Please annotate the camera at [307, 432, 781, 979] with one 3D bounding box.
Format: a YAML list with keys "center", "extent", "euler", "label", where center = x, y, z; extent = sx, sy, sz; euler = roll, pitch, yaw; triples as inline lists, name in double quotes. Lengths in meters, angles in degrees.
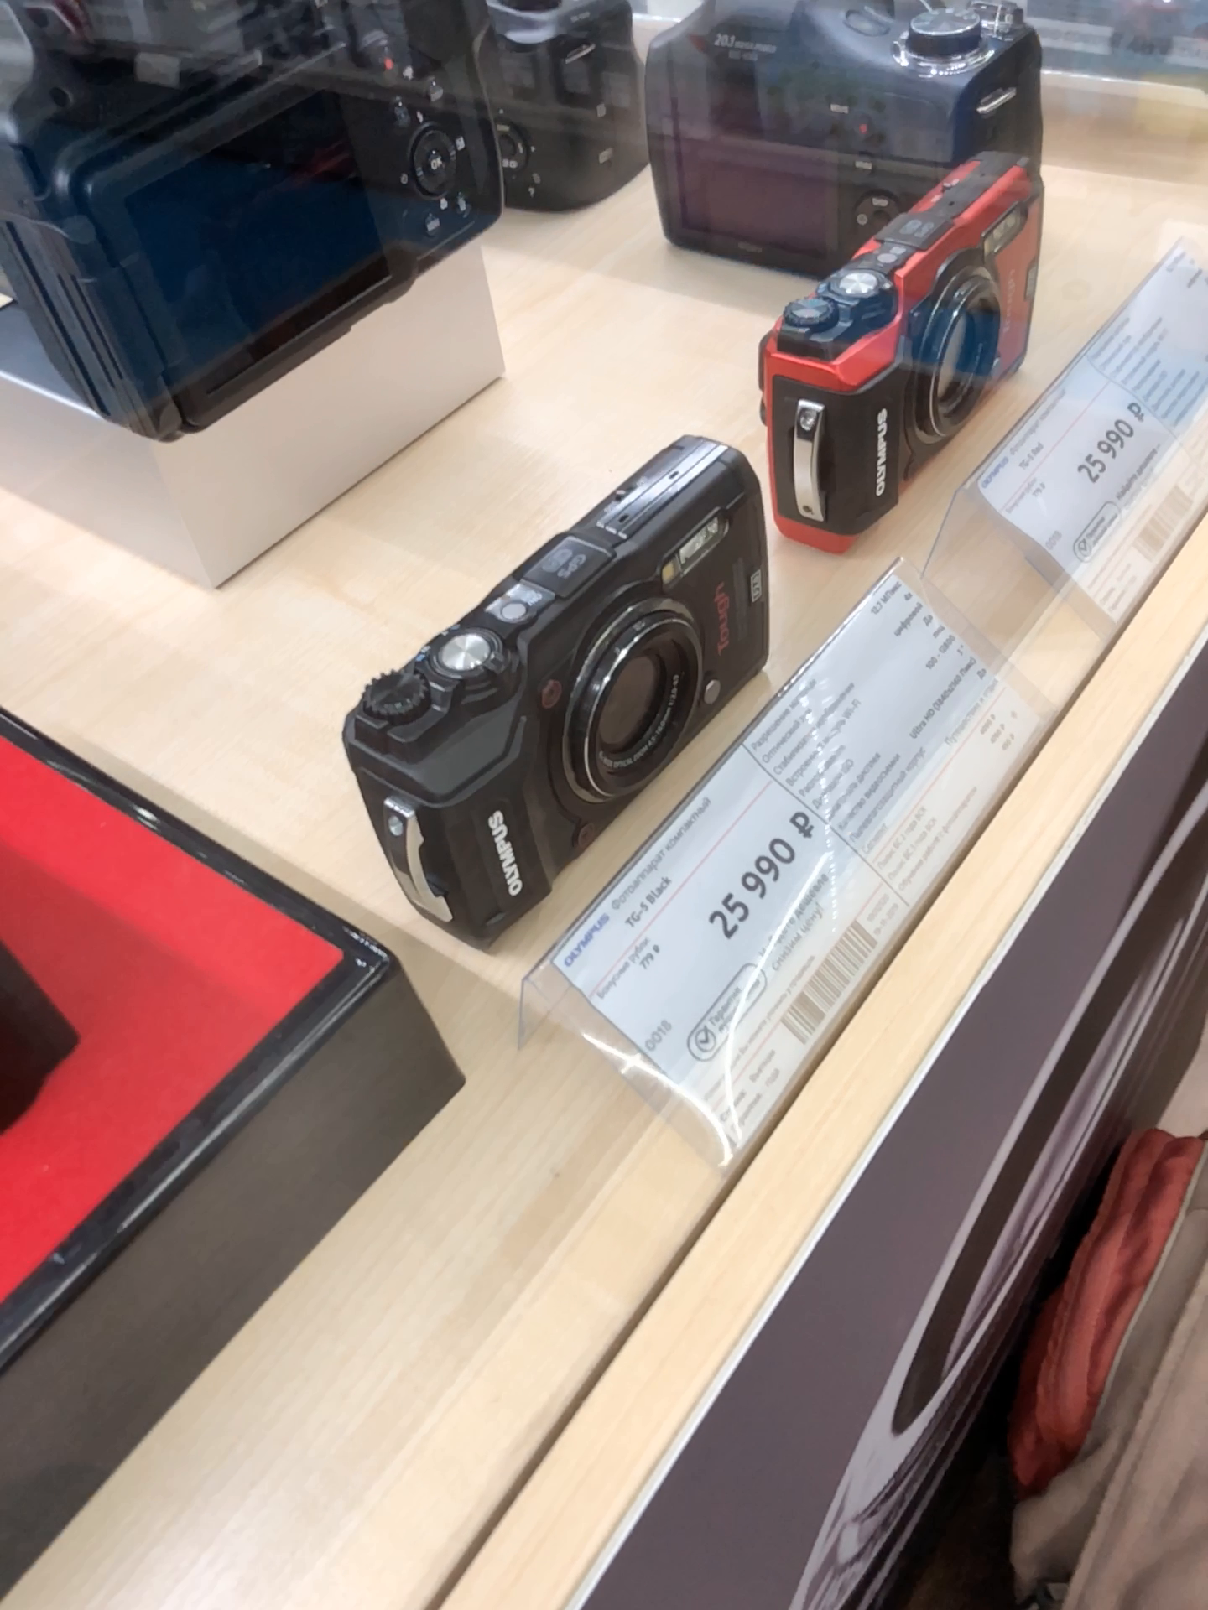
- center: [-0.006, -0.025, 0.301]
  extent: [0.030, 0.060, 0.117]
  euler: [27, 57, 30]
  label: "camera"

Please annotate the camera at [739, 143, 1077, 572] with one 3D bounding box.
- center: [0.084, -0.124, 0.363]
  extent: [0.030, 0.060, 0.117]
  euler: [27, 57, 30]
  label: "camera"
